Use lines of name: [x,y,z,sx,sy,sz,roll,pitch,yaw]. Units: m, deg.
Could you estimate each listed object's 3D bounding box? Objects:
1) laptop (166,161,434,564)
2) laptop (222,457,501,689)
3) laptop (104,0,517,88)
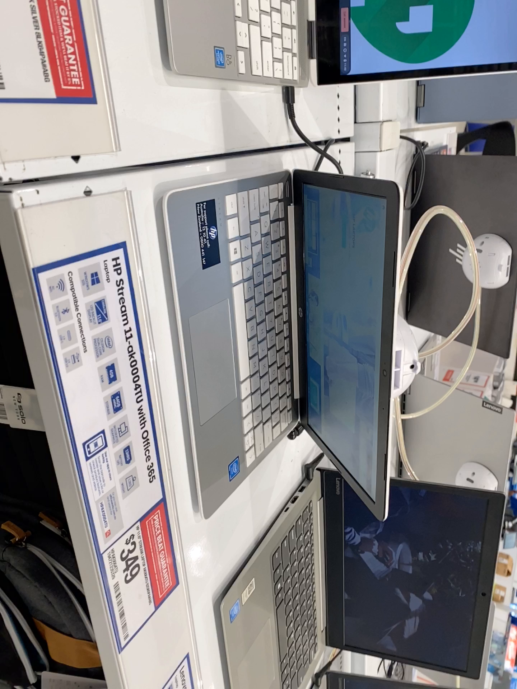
laptop: [0.050,-0.003,0.460,0.181,0.138,0.277,-34,126,-52]
laptop: [0.141,0.366,0.635,0.276,0.211,0.327,-37,129,-52]
laptop: [0.088,-0.338,0.374,0.298,0.189,0.258,-36,128,-53]
